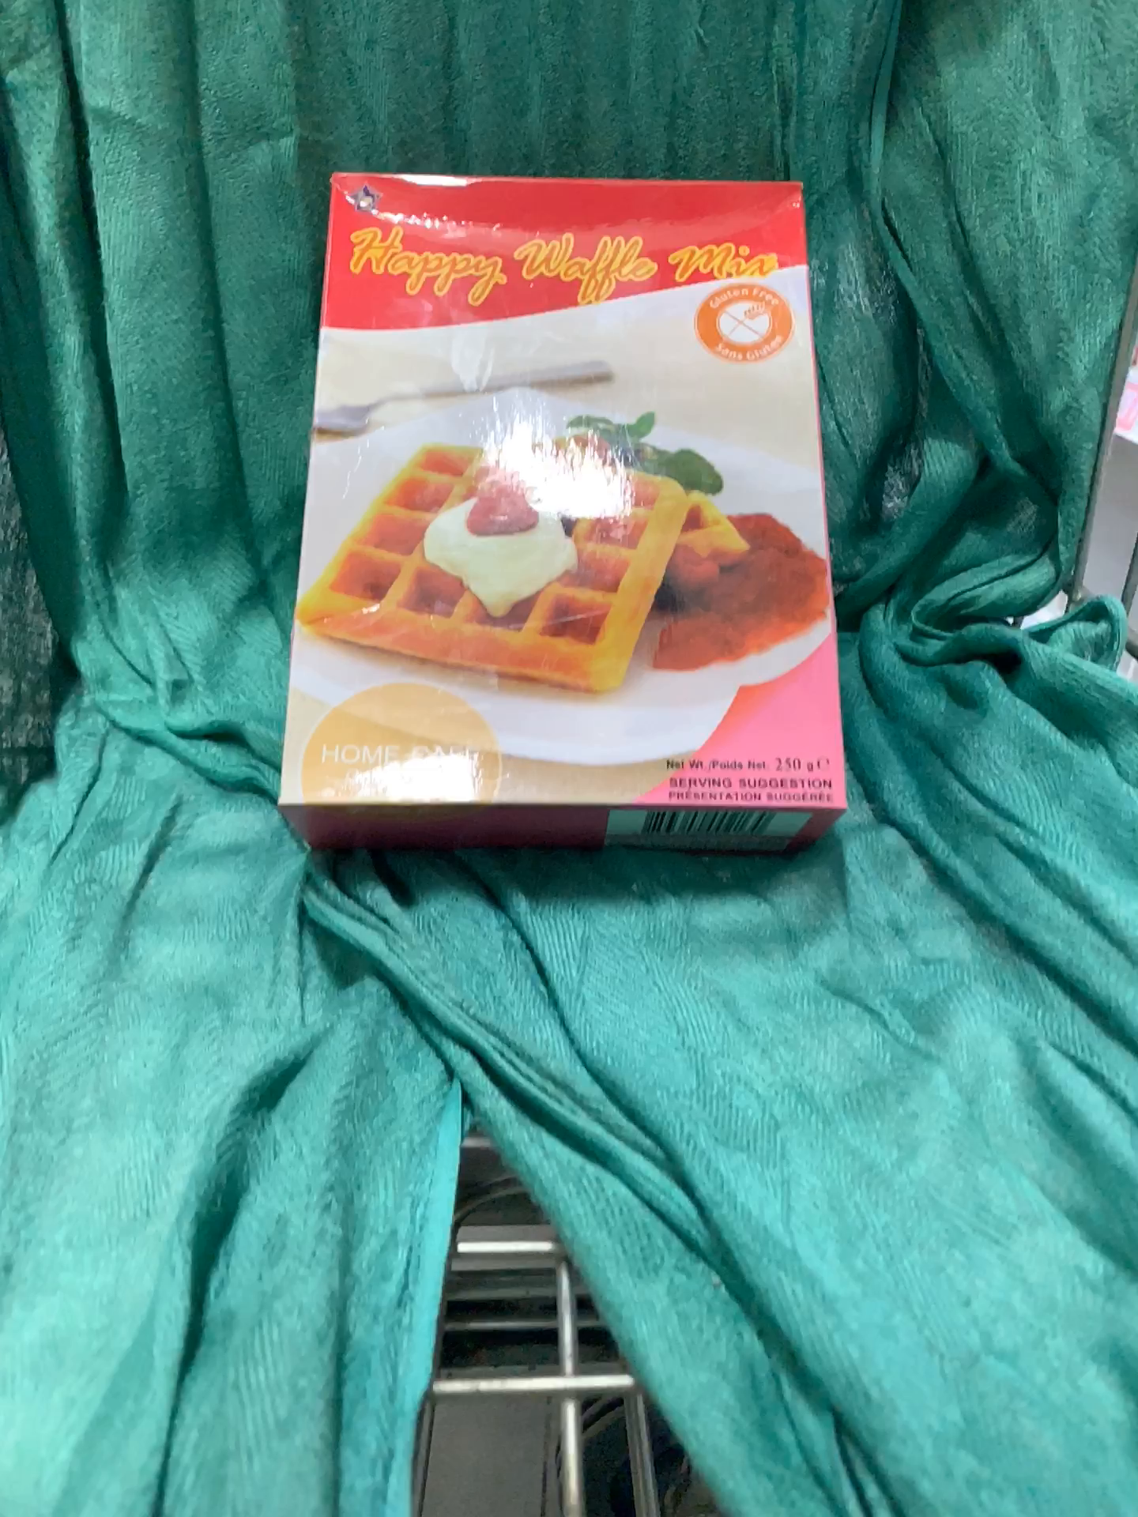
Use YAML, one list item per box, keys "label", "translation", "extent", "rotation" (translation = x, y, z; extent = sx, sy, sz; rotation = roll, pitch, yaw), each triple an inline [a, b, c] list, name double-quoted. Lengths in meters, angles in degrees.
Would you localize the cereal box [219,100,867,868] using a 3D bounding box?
- label: "cereal box"
  translation: [-0.004, -0.068, 0.285]
  extent: [0.130, 0.181, 0.050]
  rotation: [0, -17, 1]
